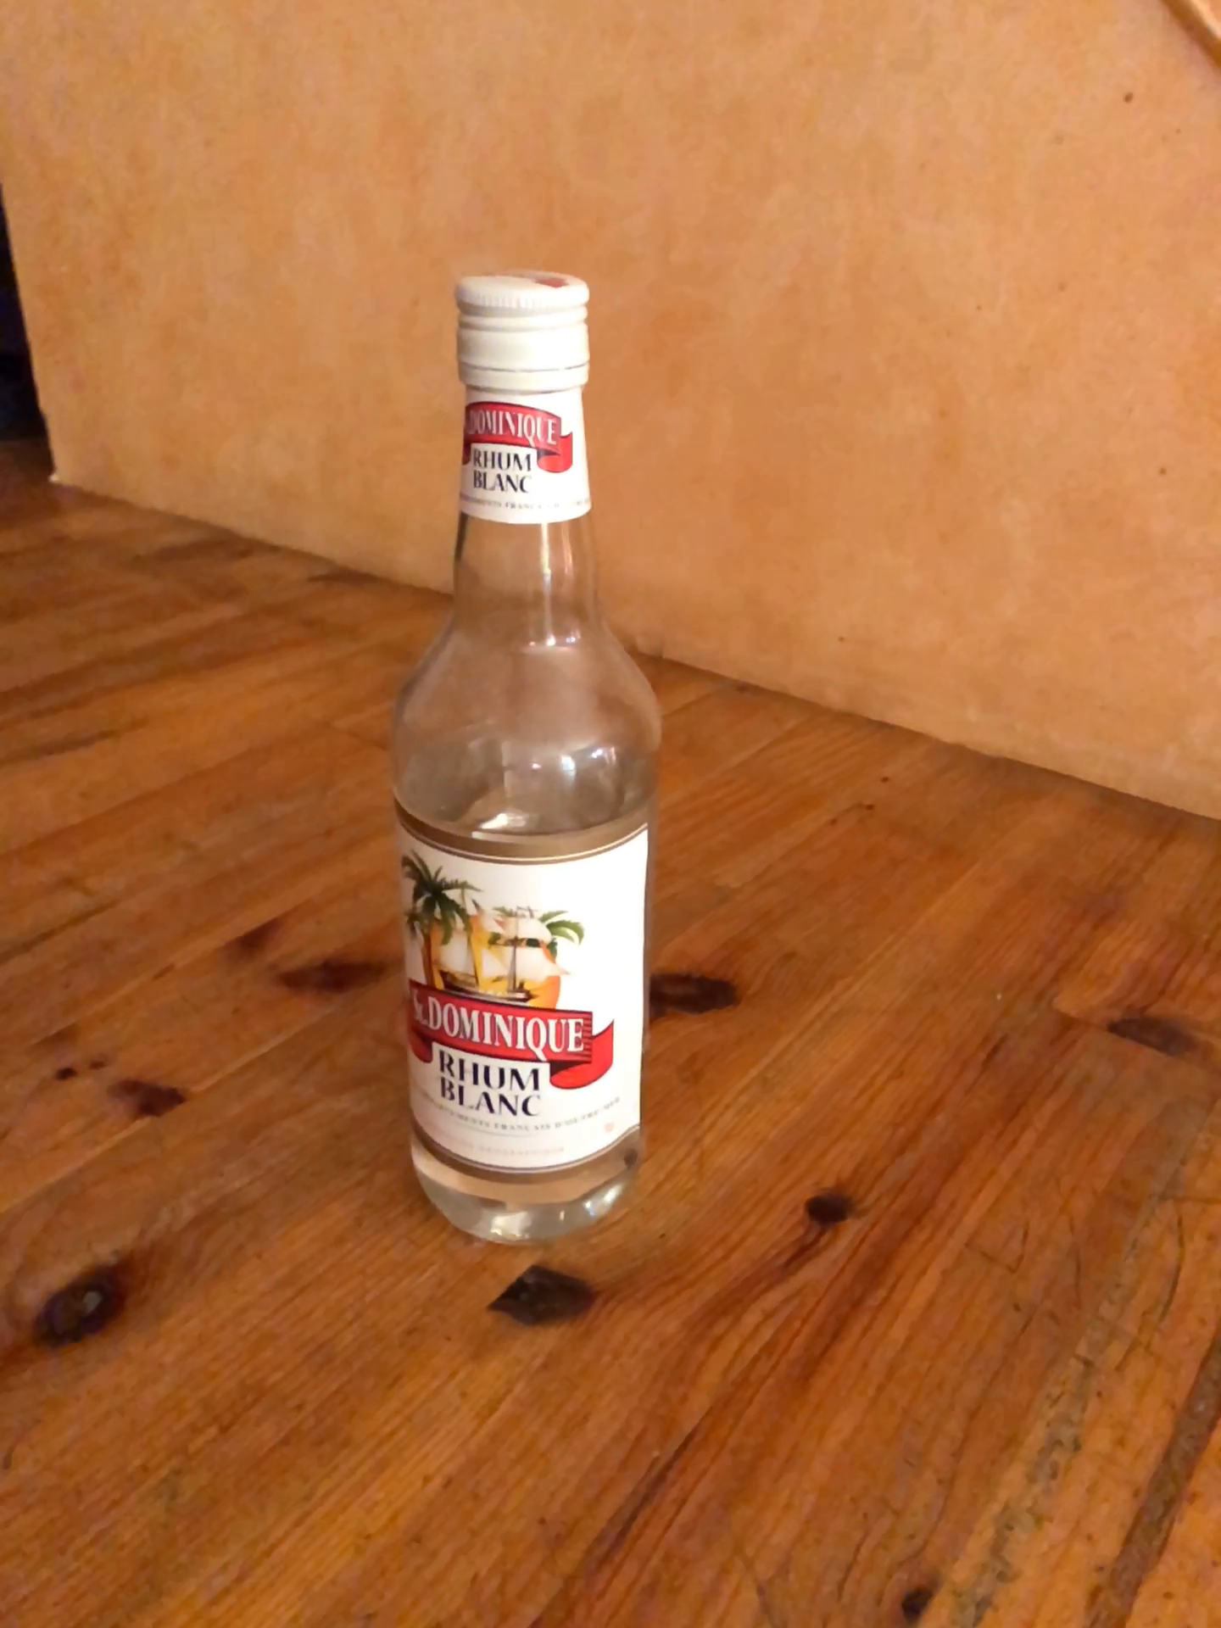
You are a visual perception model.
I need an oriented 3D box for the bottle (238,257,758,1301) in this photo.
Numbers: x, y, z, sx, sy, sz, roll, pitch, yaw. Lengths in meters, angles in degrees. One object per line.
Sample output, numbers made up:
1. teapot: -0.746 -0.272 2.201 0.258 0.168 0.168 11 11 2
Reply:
1. bottle: -0.024 -0.006 0.365 0.090 0.259 0.081 13 29 22
